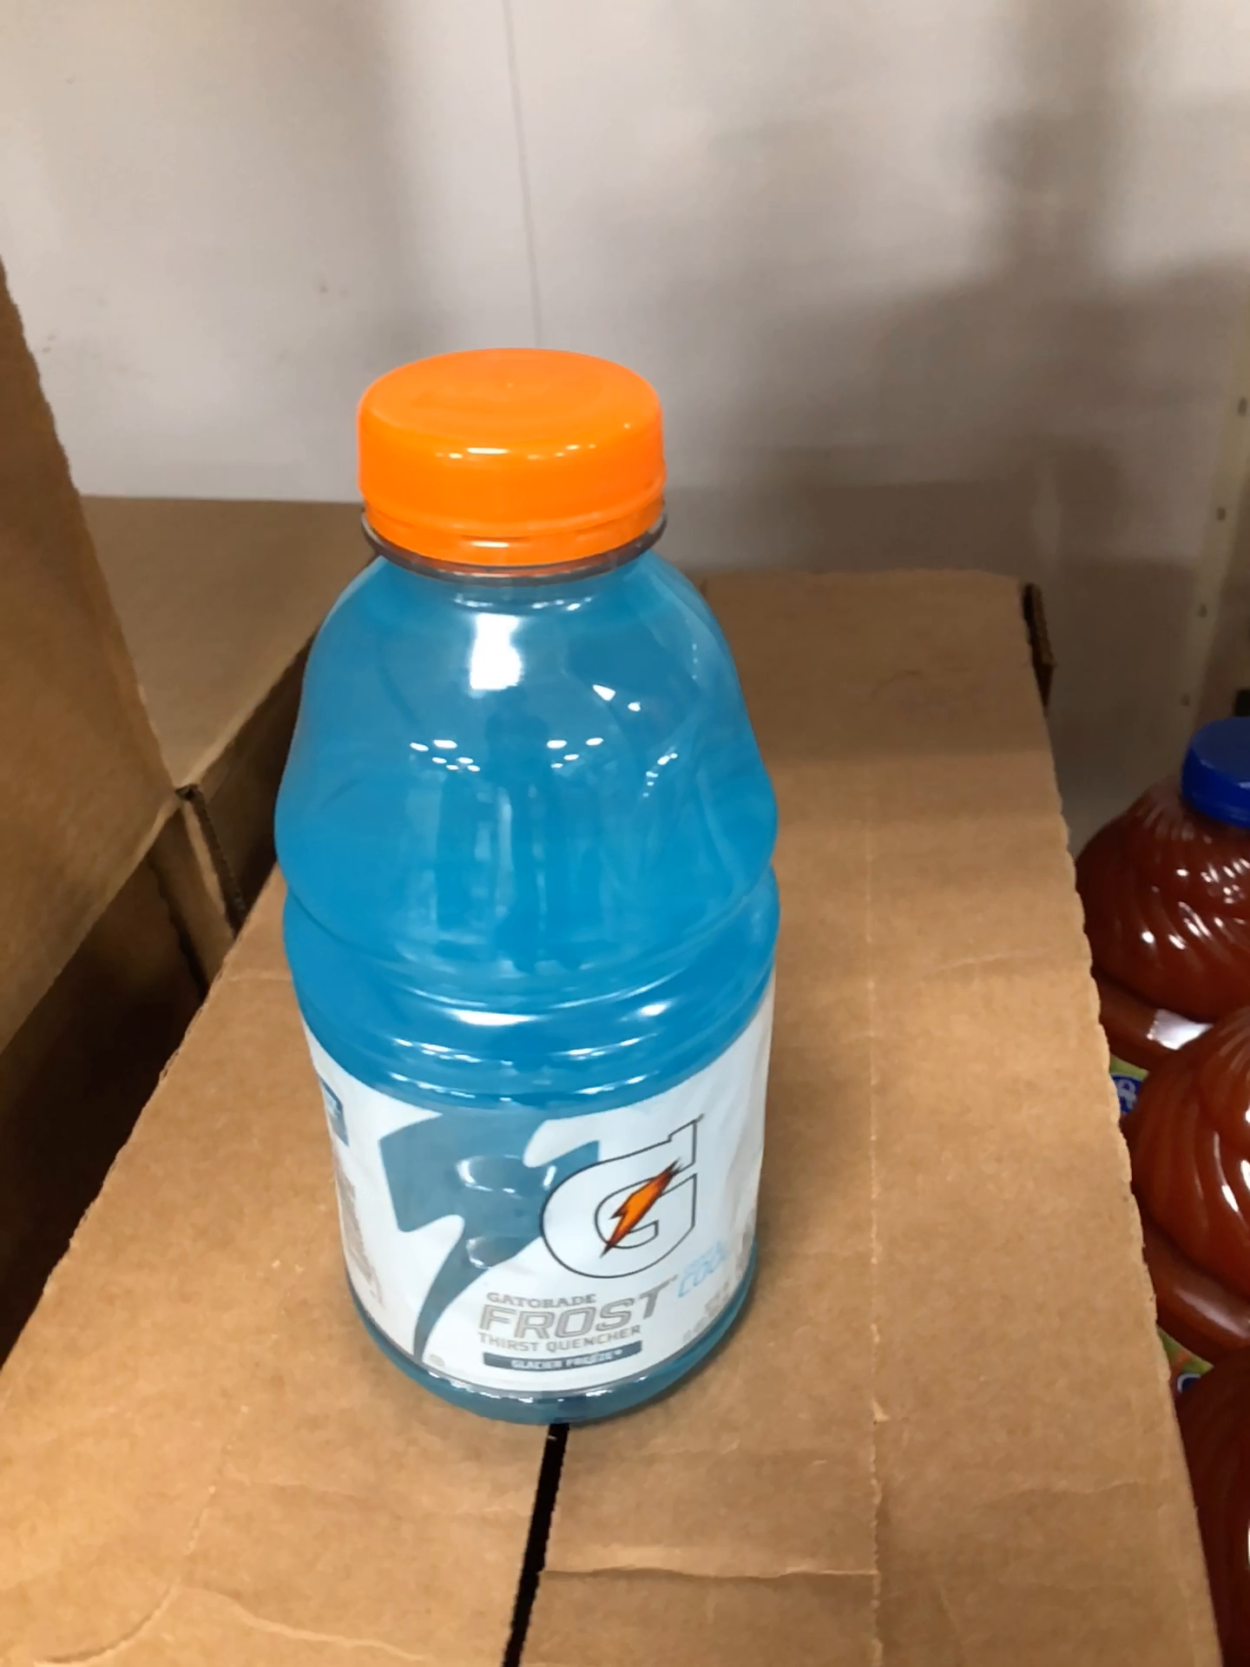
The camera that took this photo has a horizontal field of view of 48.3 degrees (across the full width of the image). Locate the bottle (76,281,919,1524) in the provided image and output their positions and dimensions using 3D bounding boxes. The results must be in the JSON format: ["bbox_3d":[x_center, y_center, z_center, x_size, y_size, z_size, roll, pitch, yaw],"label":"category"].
[{"bbox_3d":[-0.020,0.017,0.263,0.100,0.200,0.090,-16,38,-18],"label":"bottle"}]
